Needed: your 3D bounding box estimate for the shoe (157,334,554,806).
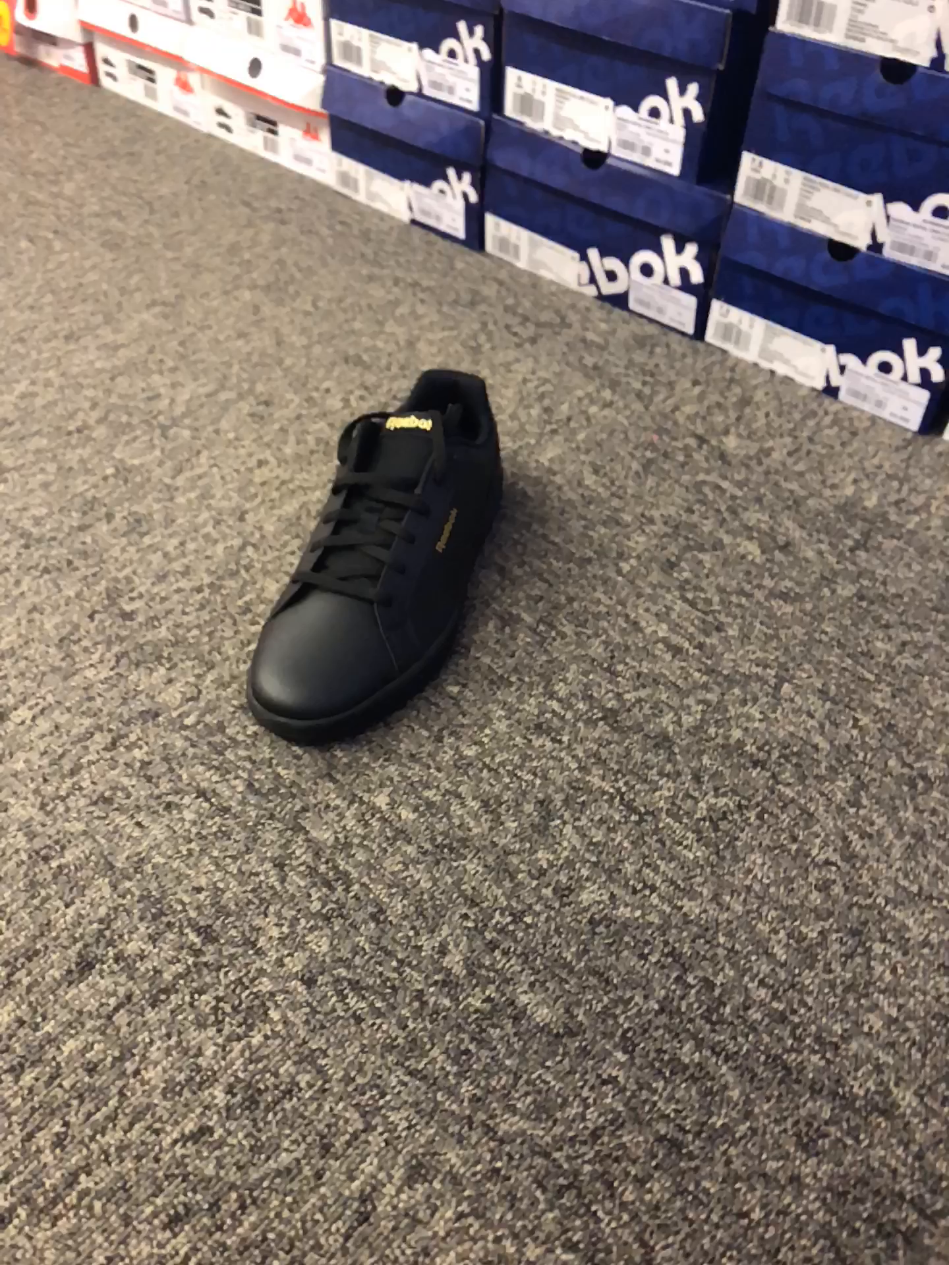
[{"bbox_3d":[-0.048,-0.048,0.575,0.098,0.089,0.262,17,49,15],"label":"shoe"}]
